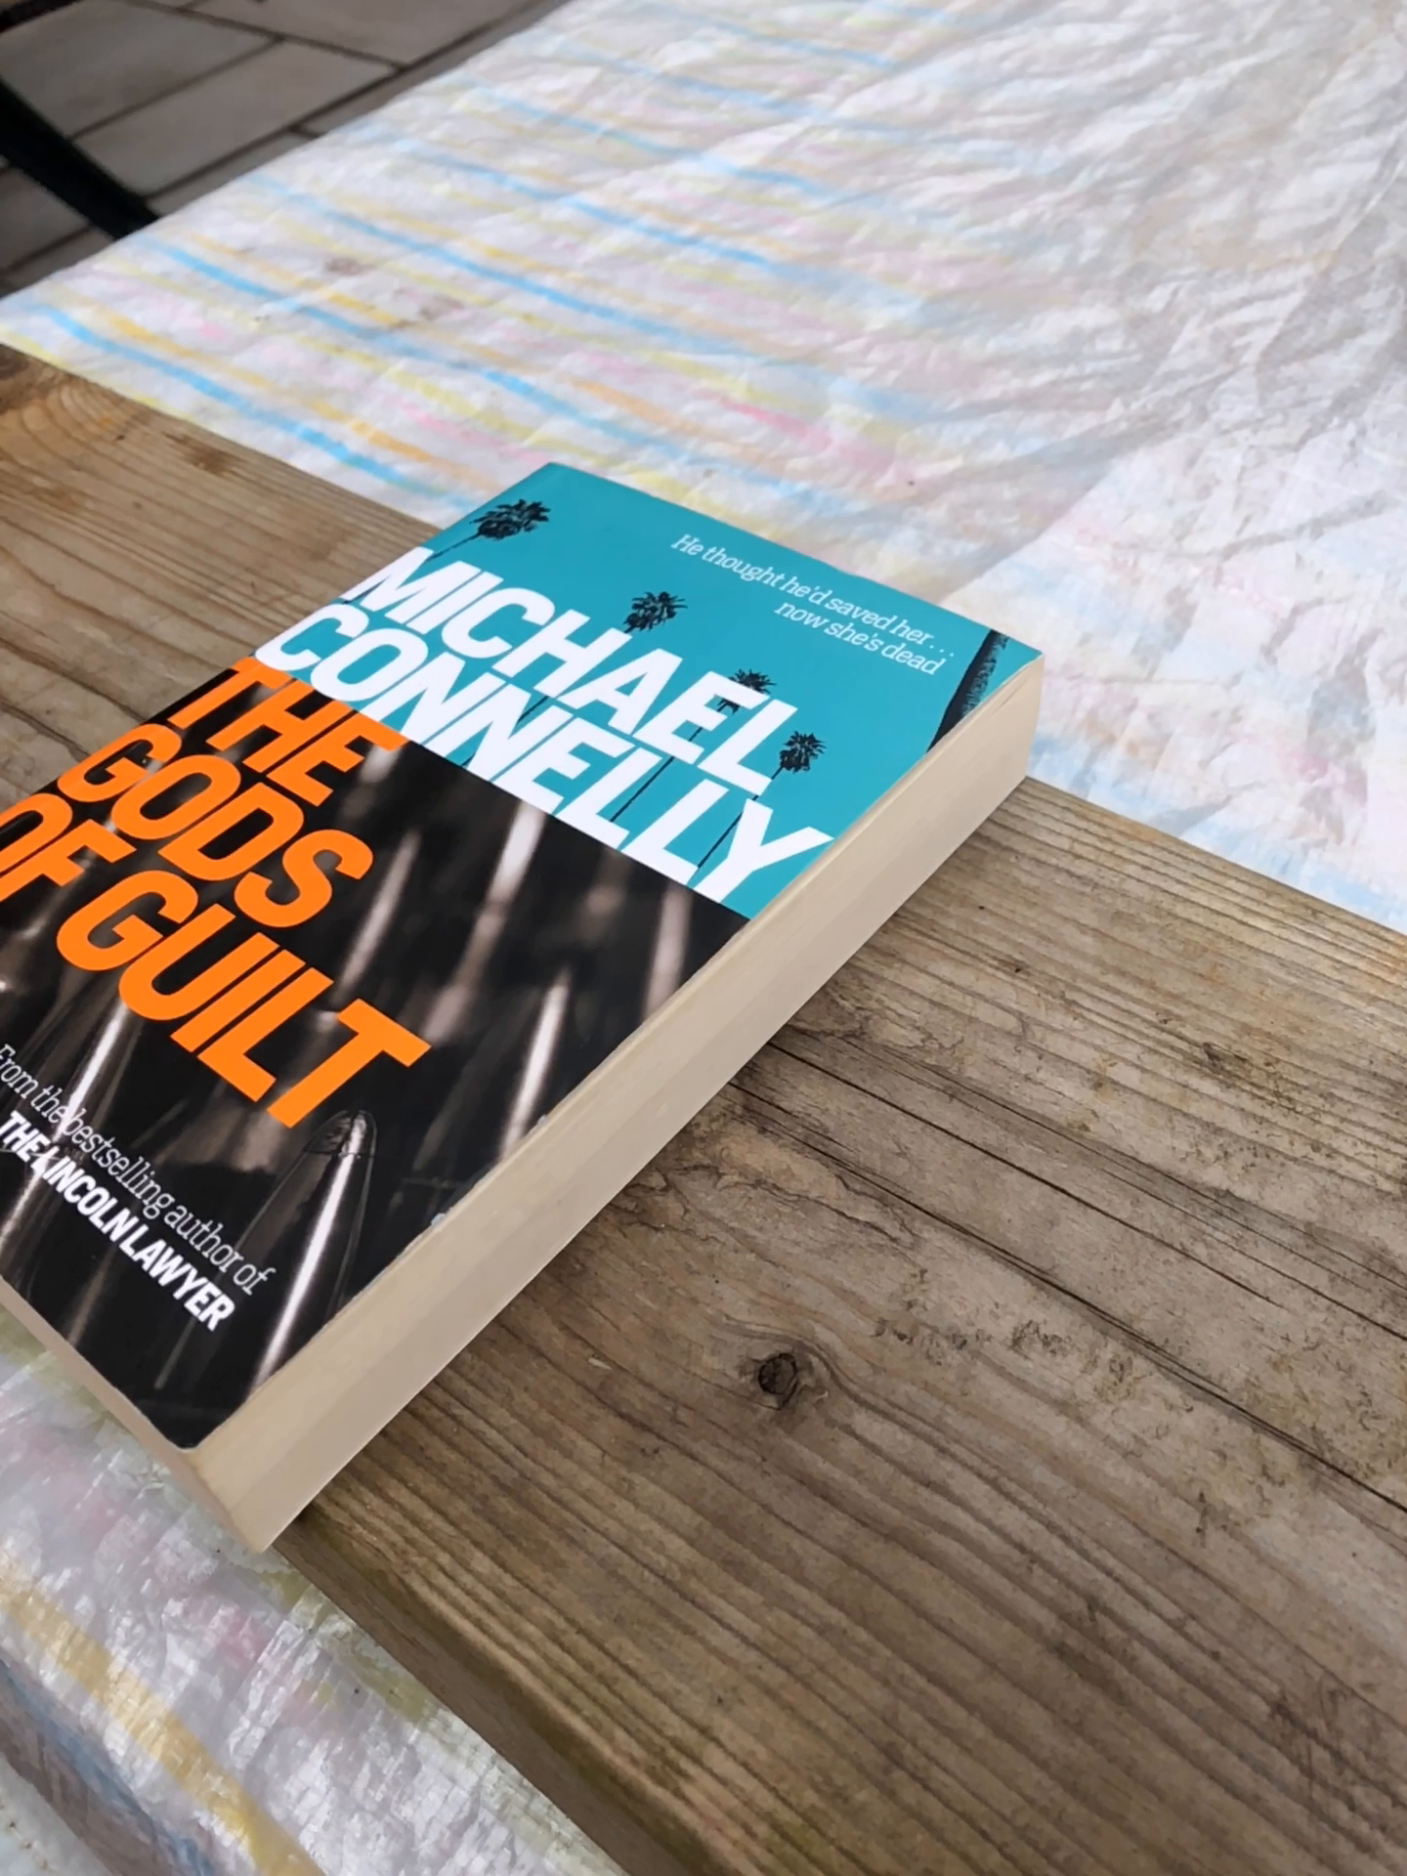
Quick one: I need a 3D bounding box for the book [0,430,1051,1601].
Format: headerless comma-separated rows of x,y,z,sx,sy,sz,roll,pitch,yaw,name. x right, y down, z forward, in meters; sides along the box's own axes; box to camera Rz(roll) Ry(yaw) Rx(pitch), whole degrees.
-0.053,-0.012,0.283,0.140,0.040,0.201,29,55,29,book
